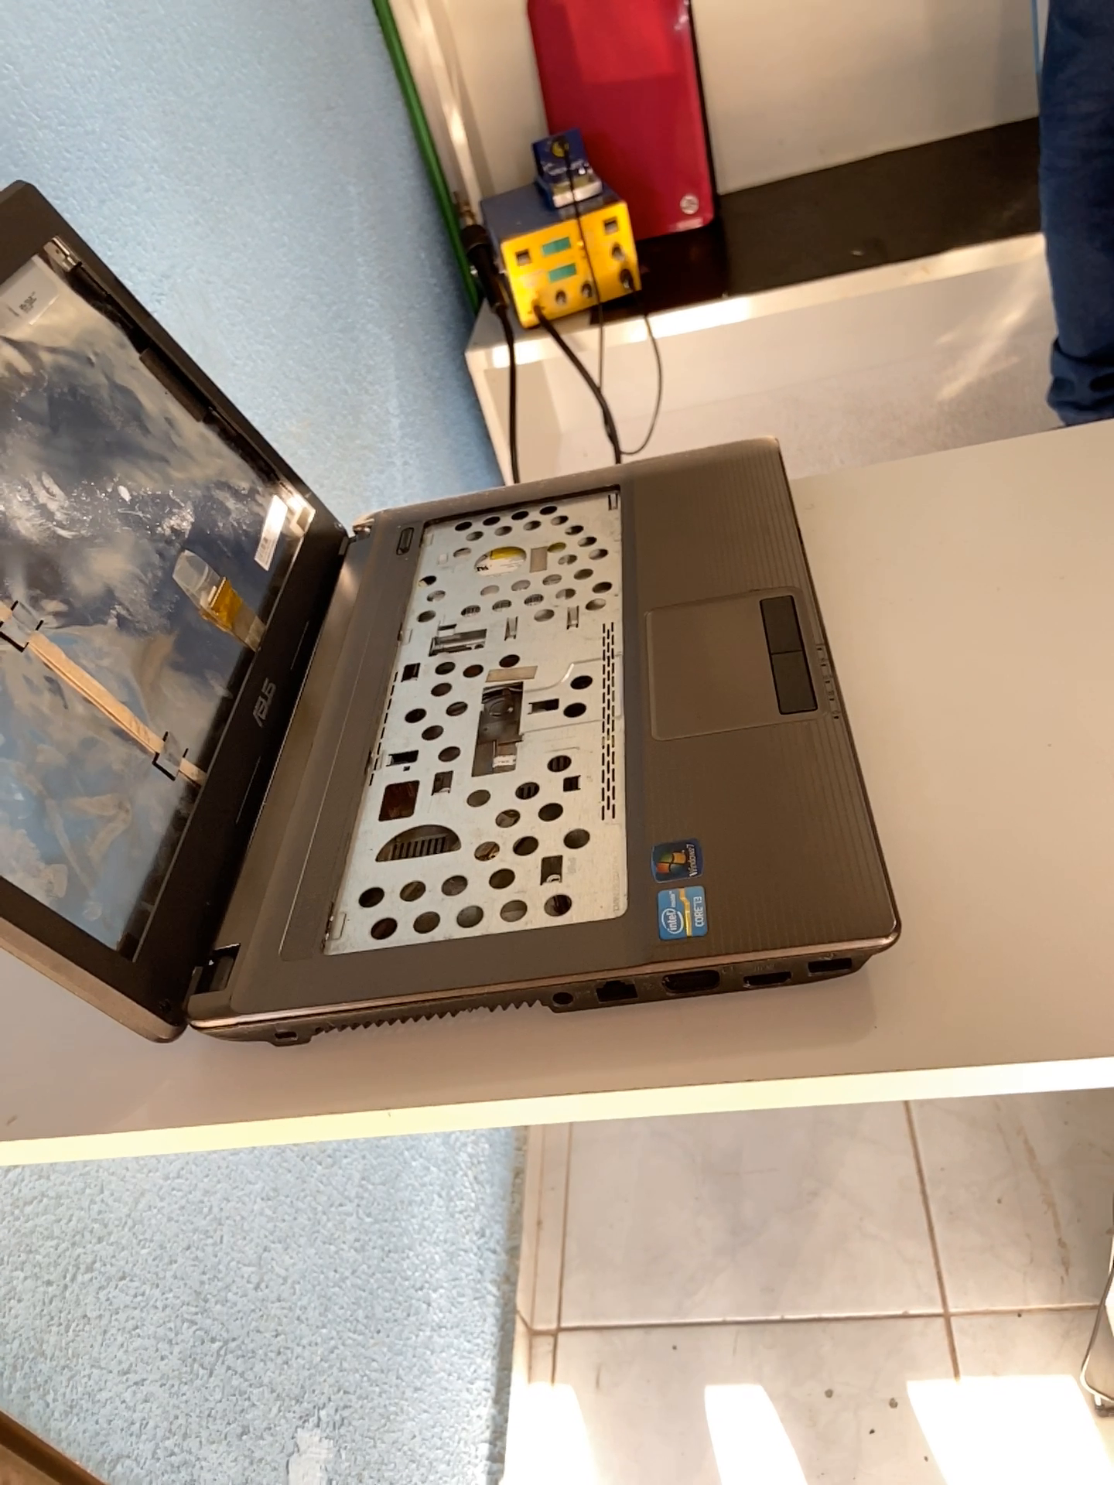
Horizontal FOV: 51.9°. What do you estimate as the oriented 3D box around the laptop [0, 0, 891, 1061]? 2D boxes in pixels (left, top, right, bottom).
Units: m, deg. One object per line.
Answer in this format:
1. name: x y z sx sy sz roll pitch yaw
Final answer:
1. laptop: -0.076 -0.100 0.442 0.327 0.202 0.338 -9 39 10
